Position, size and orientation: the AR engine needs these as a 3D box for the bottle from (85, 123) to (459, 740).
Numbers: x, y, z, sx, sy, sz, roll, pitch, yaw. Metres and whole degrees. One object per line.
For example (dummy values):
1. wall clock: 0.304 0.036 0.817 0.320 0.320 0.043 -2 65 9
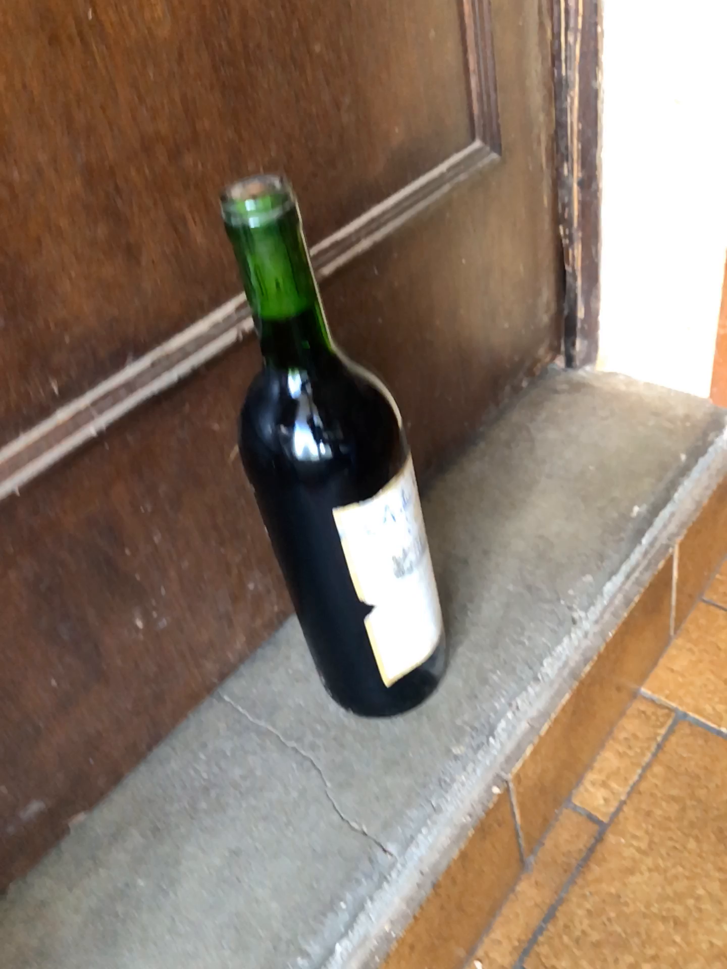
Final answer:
1. bottle: -0.017 -0.001 0.364 0.080 0.278 0.081 -8 40 7
